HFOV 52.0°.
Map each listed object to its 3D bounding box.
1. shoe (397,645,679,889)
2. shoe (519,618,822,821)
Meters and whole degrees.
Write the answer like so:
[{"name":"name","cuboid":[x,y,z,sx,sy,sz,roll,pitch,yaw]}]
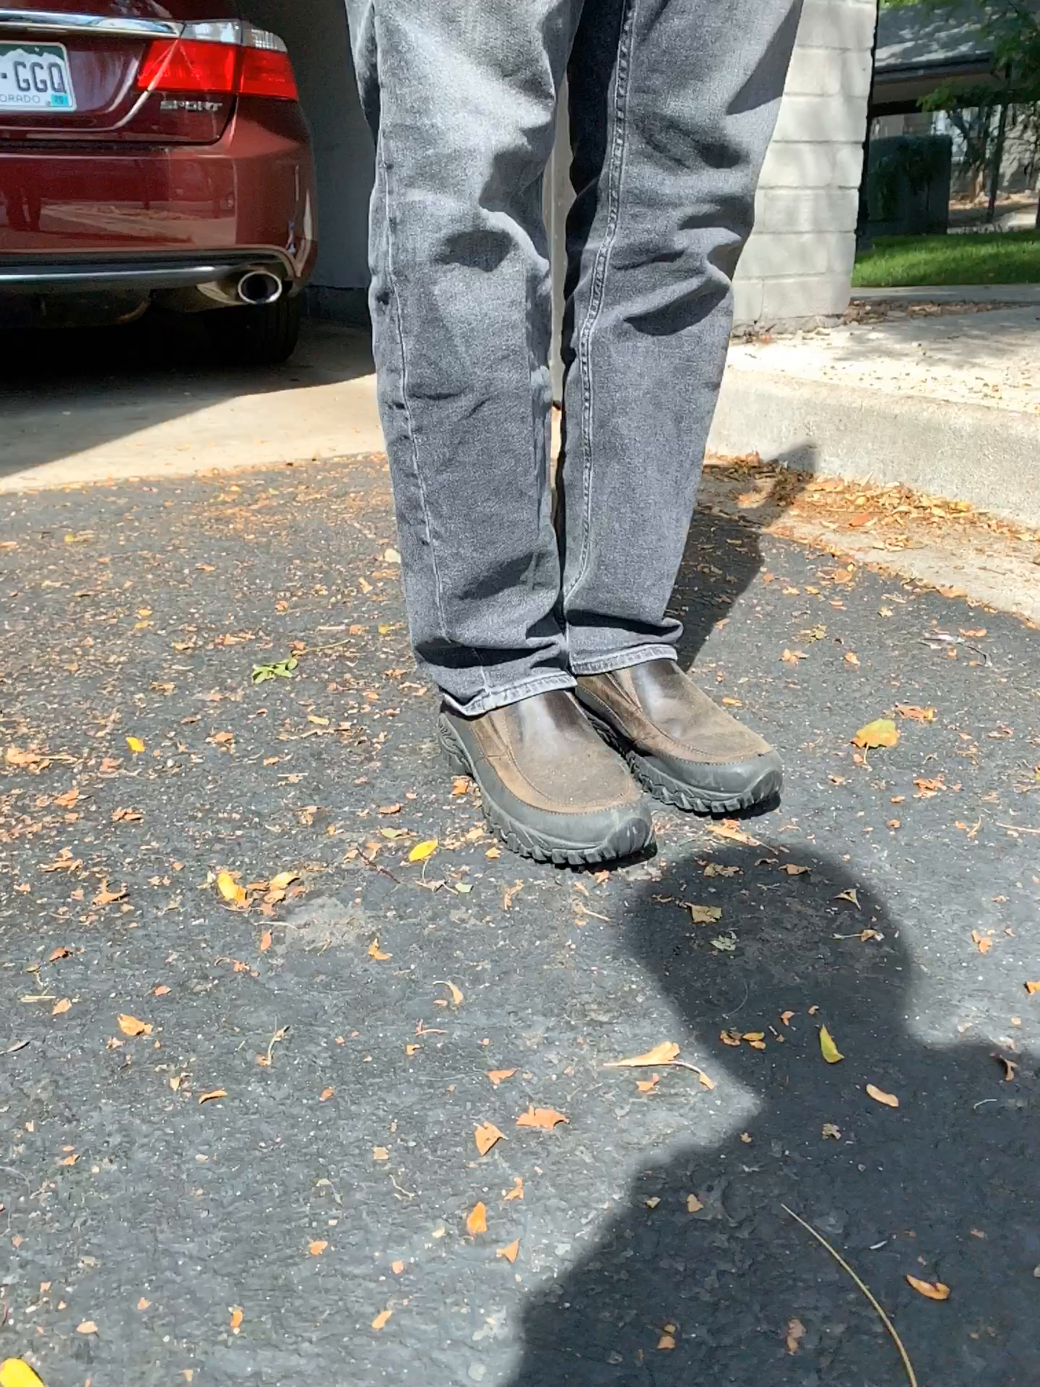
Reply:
[{"name":"shoe","cuboid":[0.002,0.047,0.896,0.110,0.070,0.291,-11,26,-25]},{"name":"shoe","cuboid":[0.122,0.011,0.961,0.110,0.070,0.291,-13,25,-28]}]
